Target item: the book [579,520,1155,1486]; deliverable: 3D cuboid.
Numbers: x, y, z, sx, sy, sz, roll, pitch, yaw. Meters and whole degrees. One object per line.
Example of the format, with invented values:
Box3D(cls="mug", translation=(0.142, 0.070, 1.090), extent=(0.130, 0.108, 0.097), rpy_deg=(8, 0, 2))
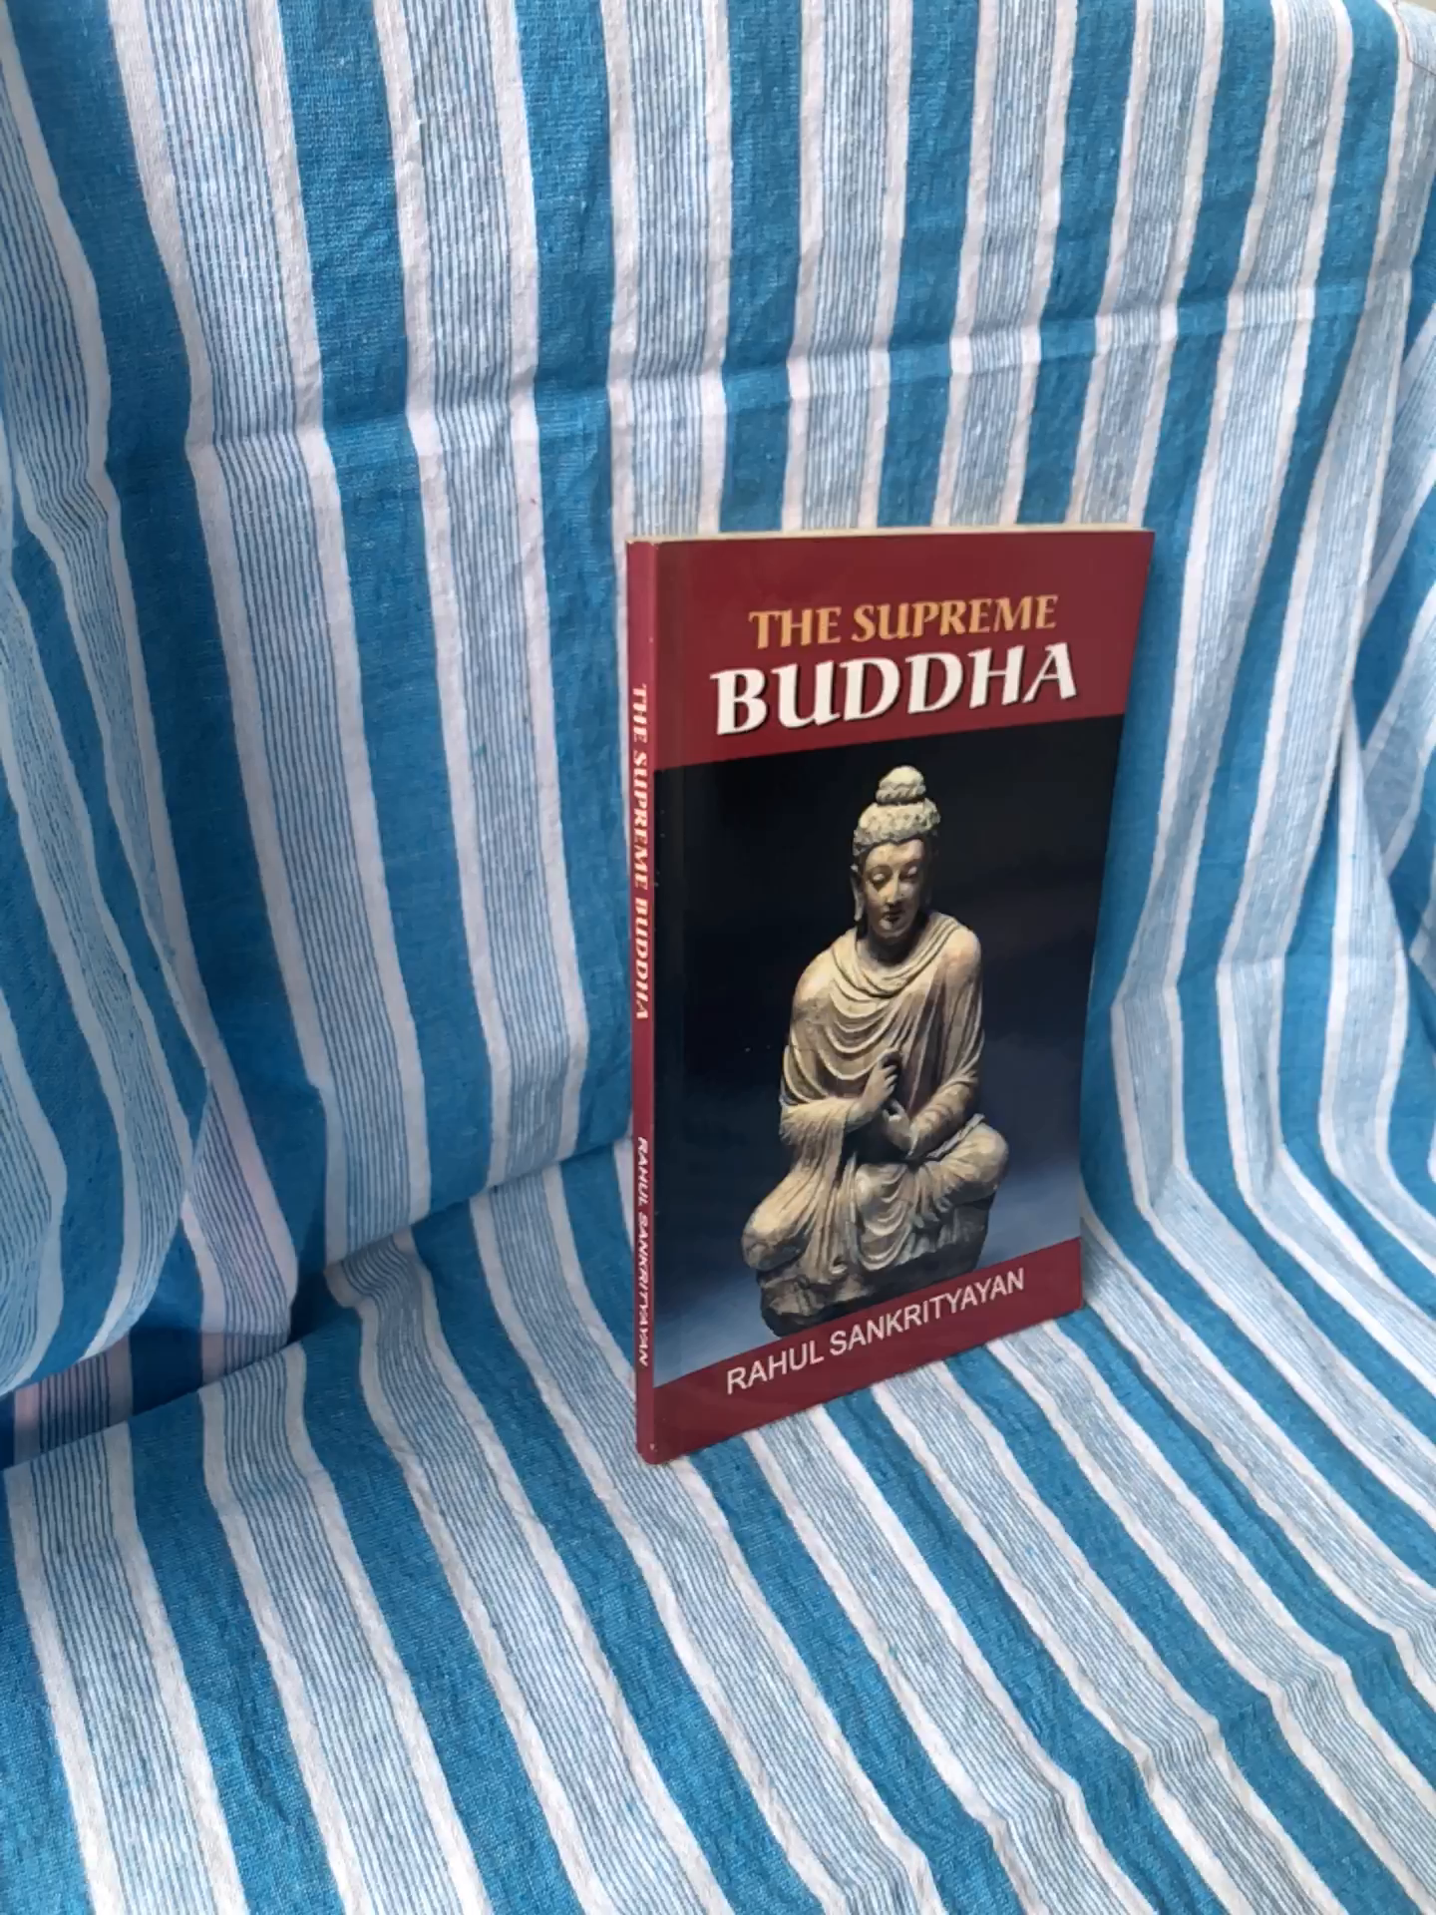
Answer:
Box3D(cls="book", translation=(0.039, 0.007, 0.396), extent=(0.151, 0.219, 0.020), rpy_deg=(-10, 20, -32))
